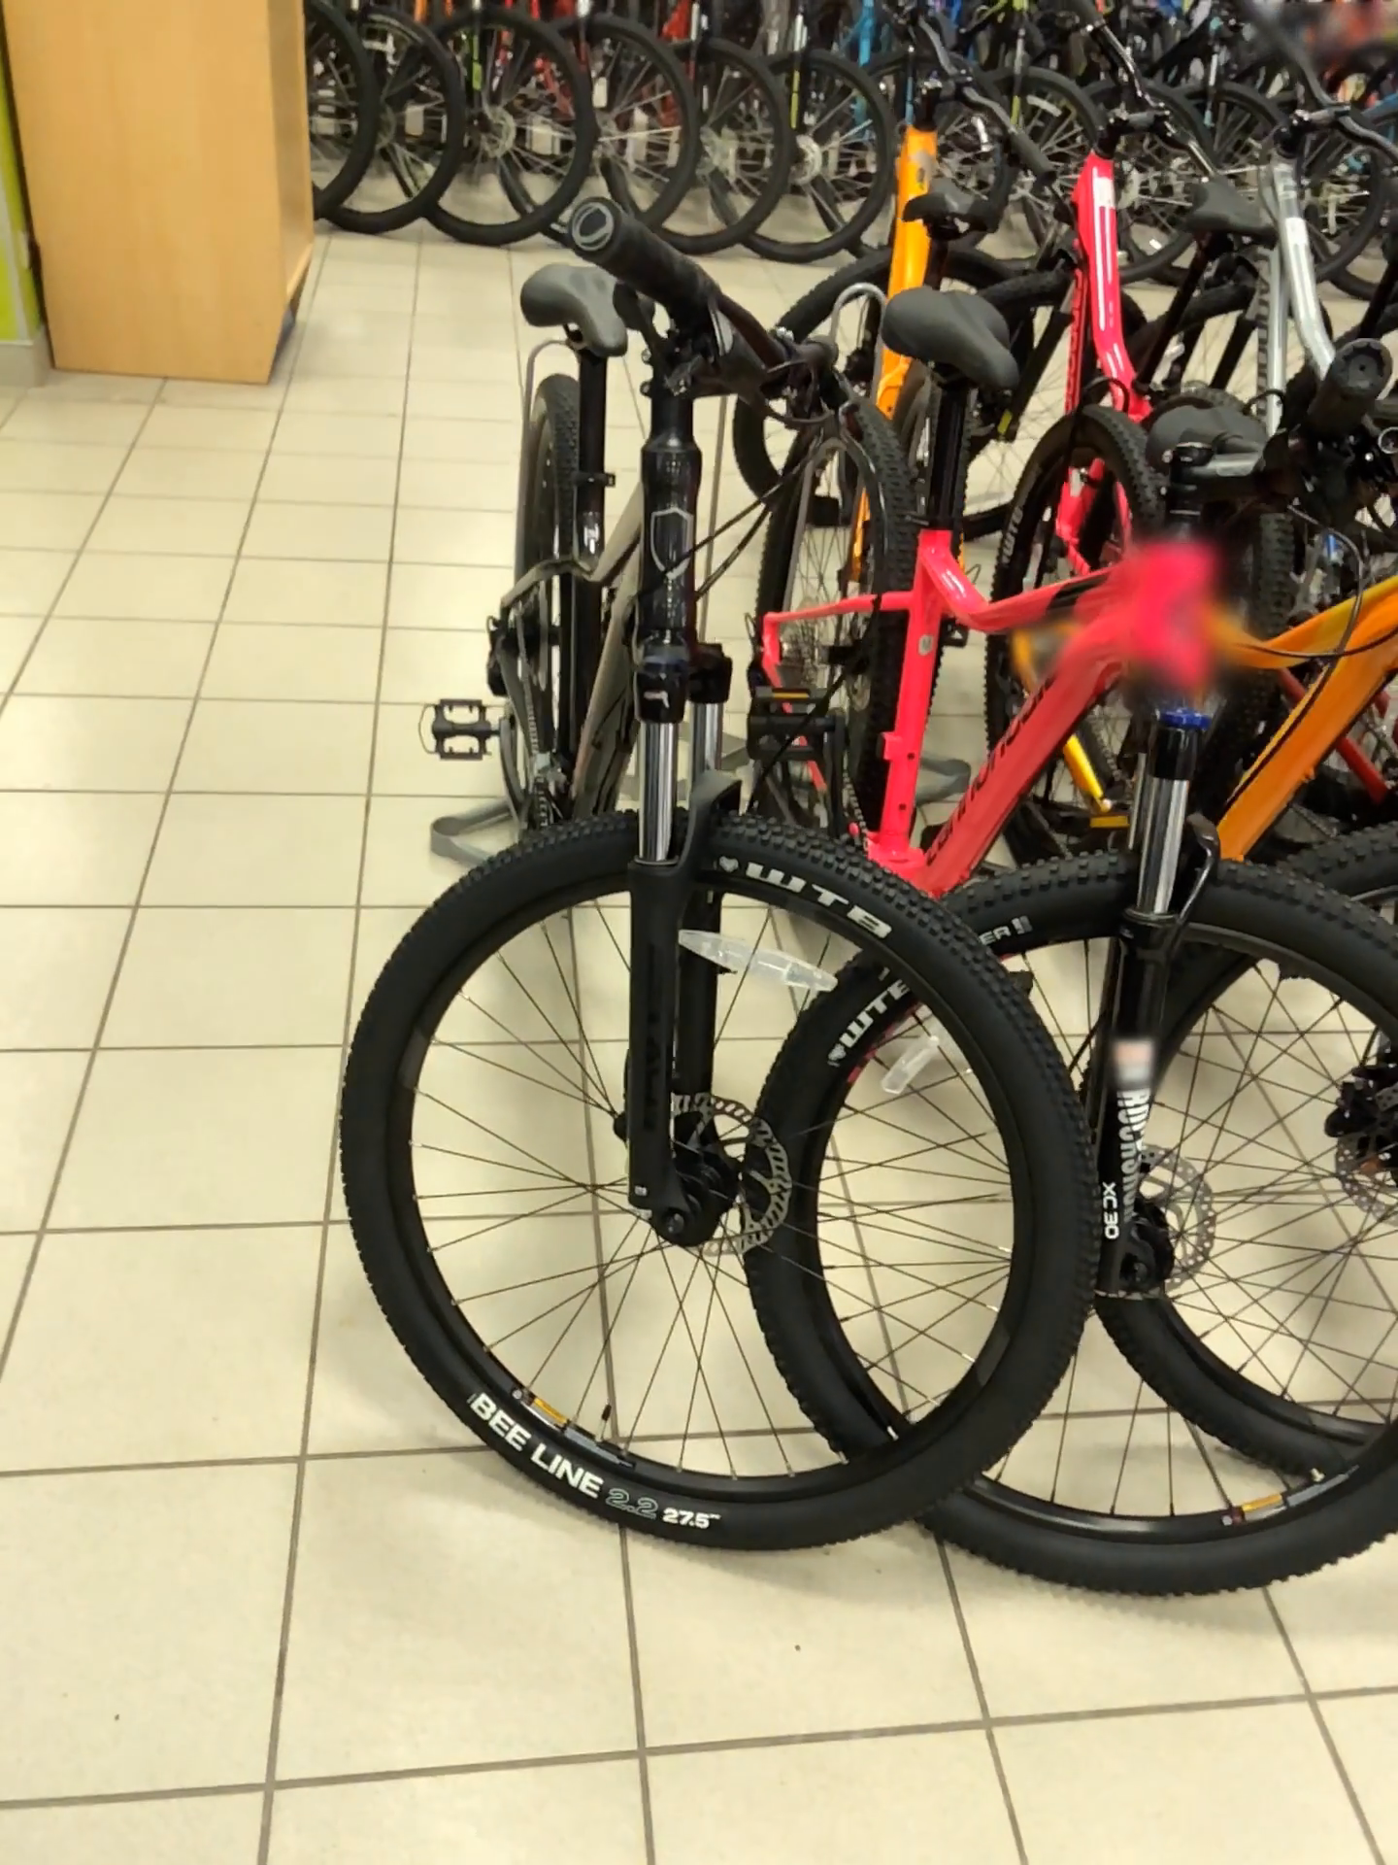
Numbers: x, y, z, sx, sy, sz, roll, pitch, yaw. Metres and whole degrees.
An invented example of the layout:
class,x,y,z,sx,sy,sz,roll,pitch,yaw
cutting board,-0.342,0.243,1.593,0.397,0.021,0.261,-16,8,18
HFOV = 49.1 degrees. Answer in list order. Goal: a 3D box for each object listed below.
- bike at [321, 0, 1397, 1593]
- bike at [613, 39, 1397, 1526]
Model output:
class,x,y,z,sx,sy,sz,roll,pitch,yaw
bike,0.110,-0.291,1.756,0.685,1.100,1.587,-7,39,-18
bike,0.515,-0.305,1.775,0.653,1.074,1.572,-7,36,-18
